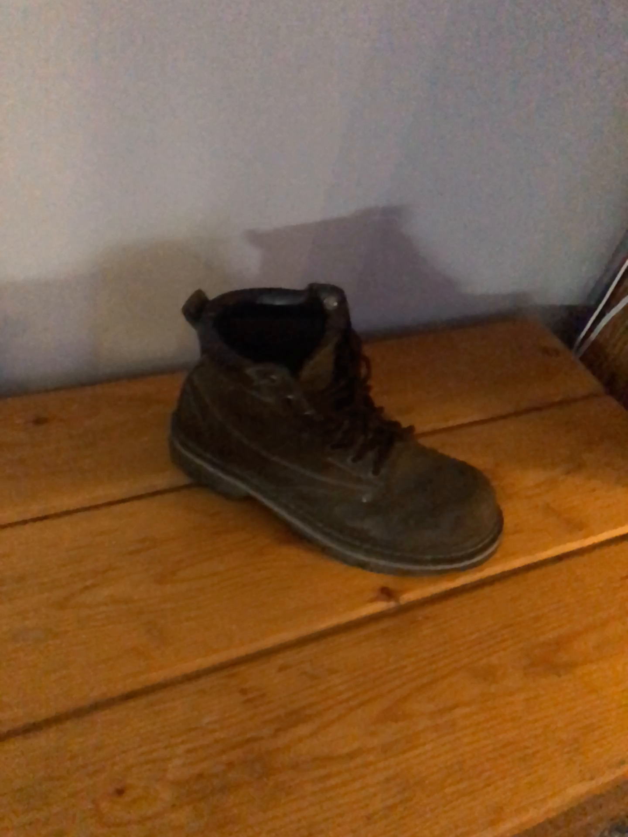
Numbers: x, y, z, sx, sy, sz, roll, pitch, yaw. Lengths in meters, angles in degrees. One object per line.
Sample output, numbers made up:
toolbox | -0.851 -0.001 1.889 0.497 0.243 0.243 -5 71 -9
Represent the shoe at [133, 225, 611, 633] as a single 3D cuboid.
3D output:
shoe | 0.034 0.007 0.555 0.320 0.189 0.130 22 45 9
